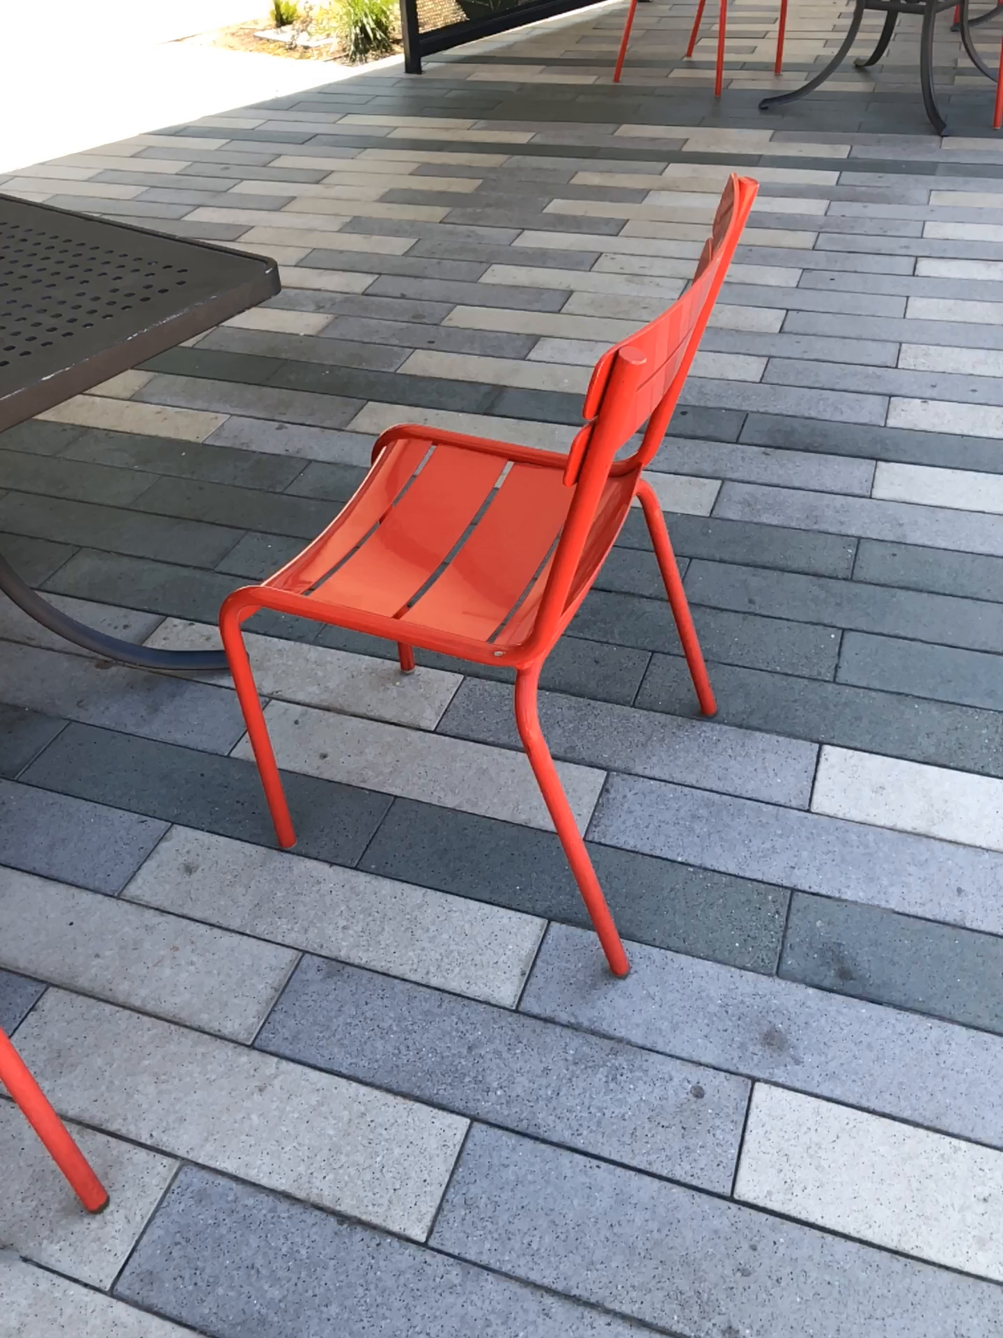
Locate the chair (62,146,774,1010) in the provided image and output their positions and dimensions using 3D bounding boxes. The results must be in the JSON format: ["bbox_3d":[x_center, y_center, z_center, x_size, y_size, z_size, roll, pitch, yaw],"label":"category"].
[{"bbox_3d":[-0.032,-0.132,1.566,0.631,0.955,0.612,10,41,16],"label":"chair"}]
